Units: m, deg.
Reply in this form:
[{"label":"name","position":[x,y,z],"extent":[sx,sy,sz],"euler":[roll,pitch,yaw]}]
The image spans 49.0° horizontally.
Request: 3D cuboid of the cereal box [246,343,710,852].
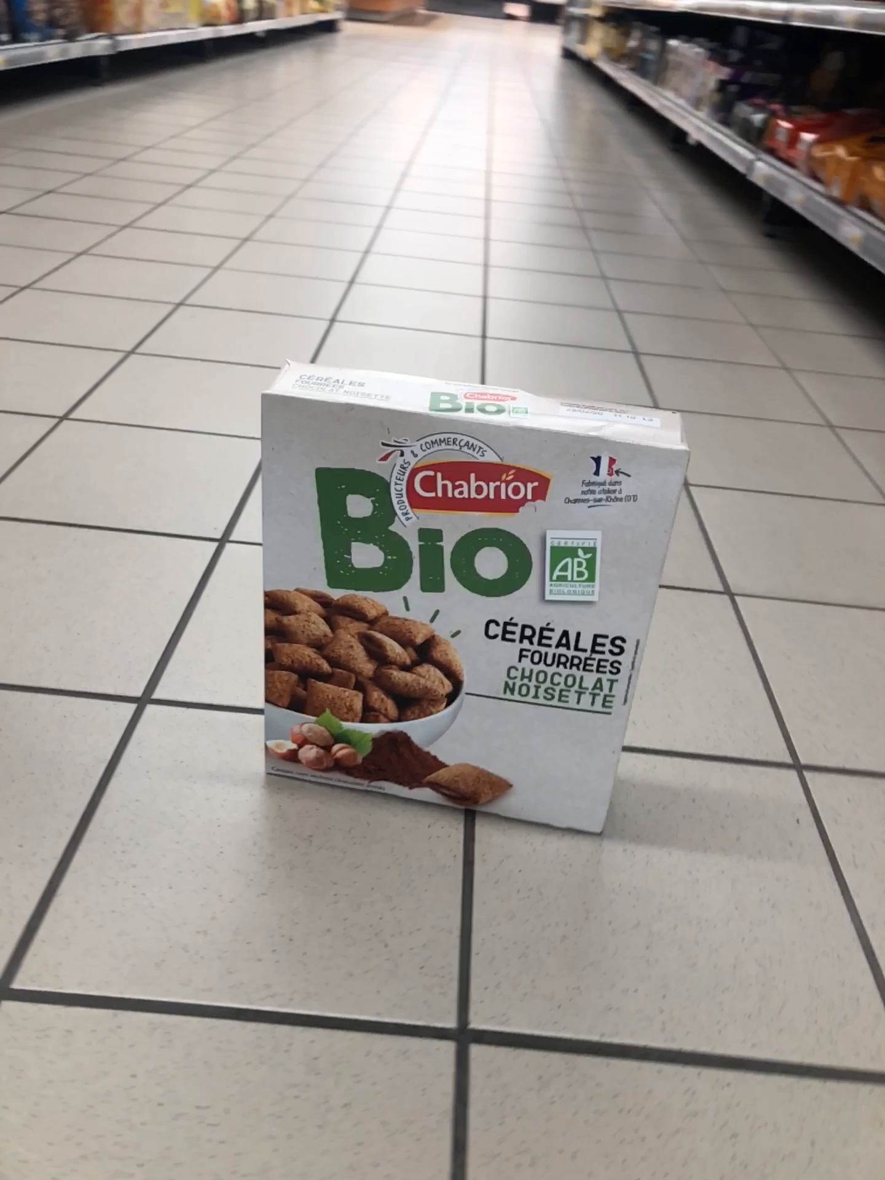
[{"label":"cereal box","position":[0.009,0.008,0.516],"extent":[0.210,0.239,0.060],"euler":[9,28,7]}]
